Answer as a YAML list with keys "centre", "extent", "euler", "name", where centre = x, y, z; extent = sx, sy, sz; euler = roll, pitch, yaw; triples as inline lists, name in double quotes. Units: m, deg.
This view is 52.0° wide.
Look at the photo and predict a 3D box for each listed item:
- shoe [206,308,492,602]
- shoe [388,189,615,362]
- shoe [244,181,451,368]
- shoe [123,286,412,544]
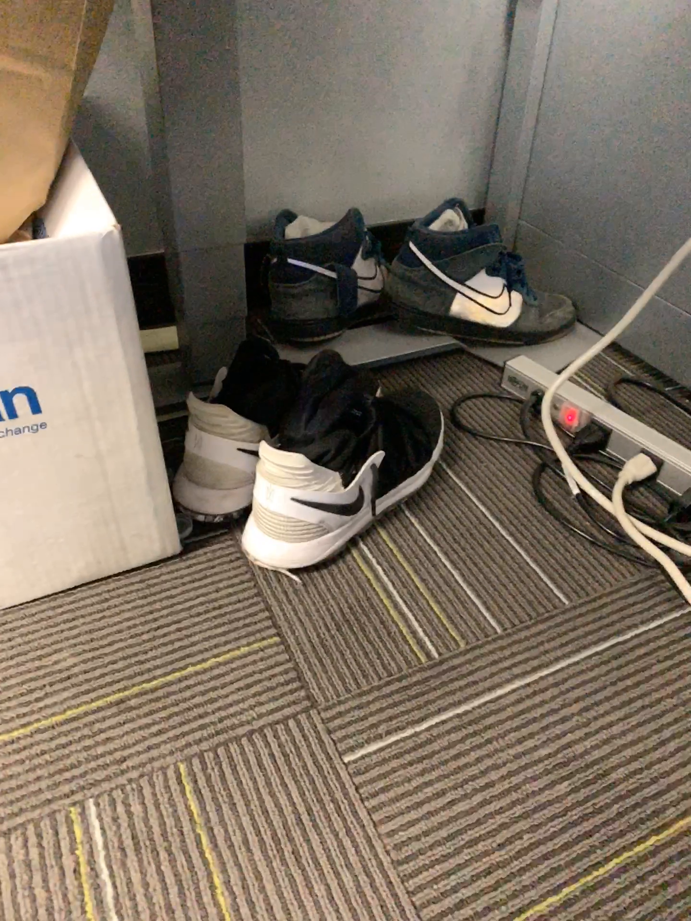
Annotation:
- centre: [0.015, -0.021, 0.674]
  extent: [0.100, 0.129, 0.291]
  euler: [27, 45, 27]
  name: "shoe"
- centre: [0.207, -0.261, 1.005]
  extent: [0.260, 0.159, 0.131]
  euler: [8, 38, -6]
  name: "shoe"
- centre: [0.011, -0.283, 1.025]
  extent: [0.130, 0.169, 0.331]
  euler: [23, 35, 23]
  name: "shoe"
- centre: [-0.067, -0.062, 0.746]
  extent: [0.100, 0.129, 0.301]
  euler: [30, 46, 30]
  name: "shoe"
